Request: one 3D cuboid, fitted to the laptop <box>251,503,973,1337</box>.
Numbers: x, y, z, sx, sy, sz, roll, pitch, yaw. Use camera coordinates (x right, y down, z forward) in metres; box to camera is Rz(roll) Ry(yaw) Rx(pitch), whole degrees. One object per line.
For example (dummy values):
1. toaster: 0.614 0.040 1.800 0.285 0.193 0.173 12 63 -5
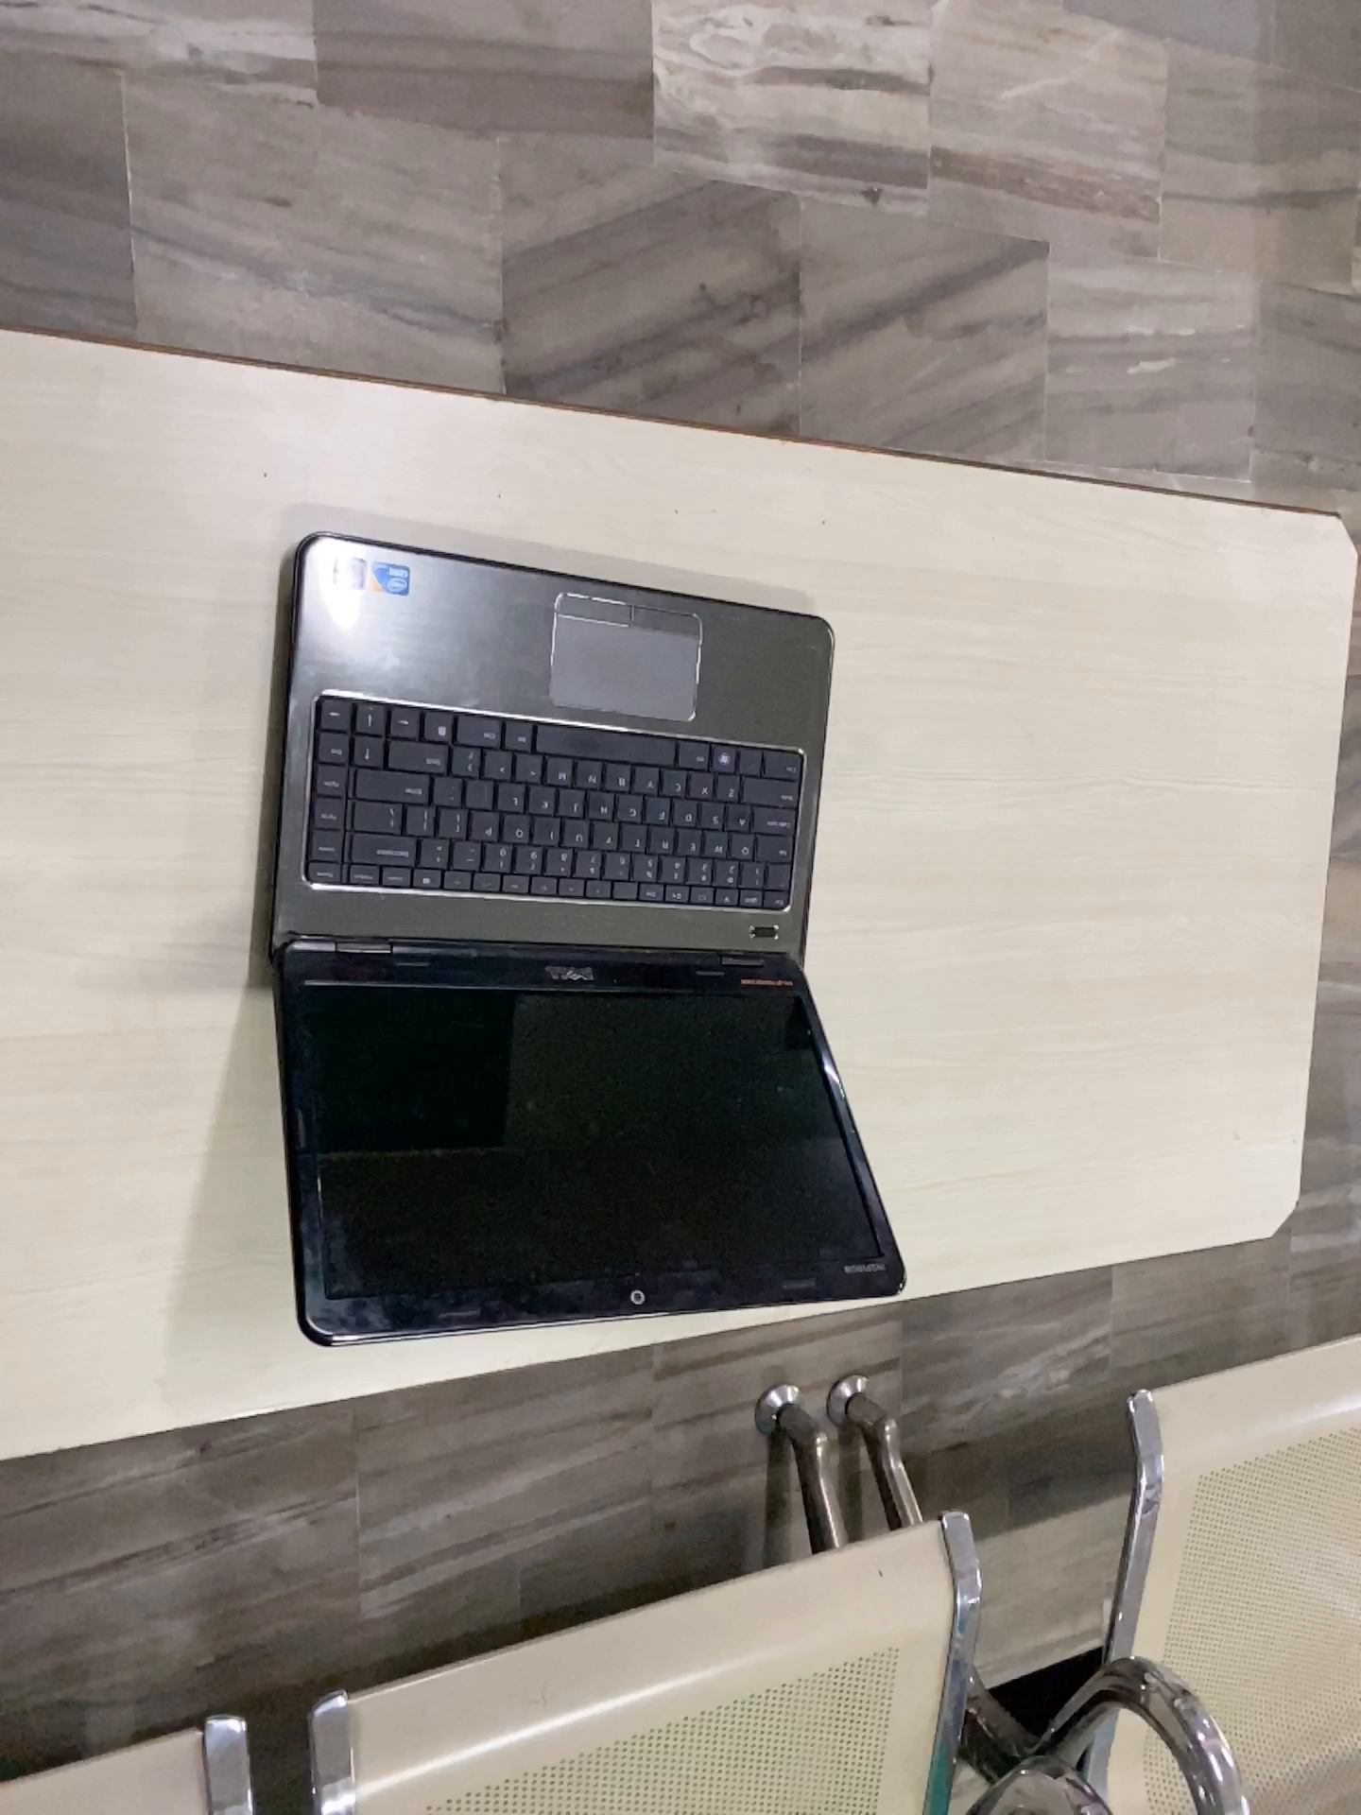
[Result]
1. laptop: -0.042 0.010 0.758 0.329 0.152 0.378 3 95 -25
